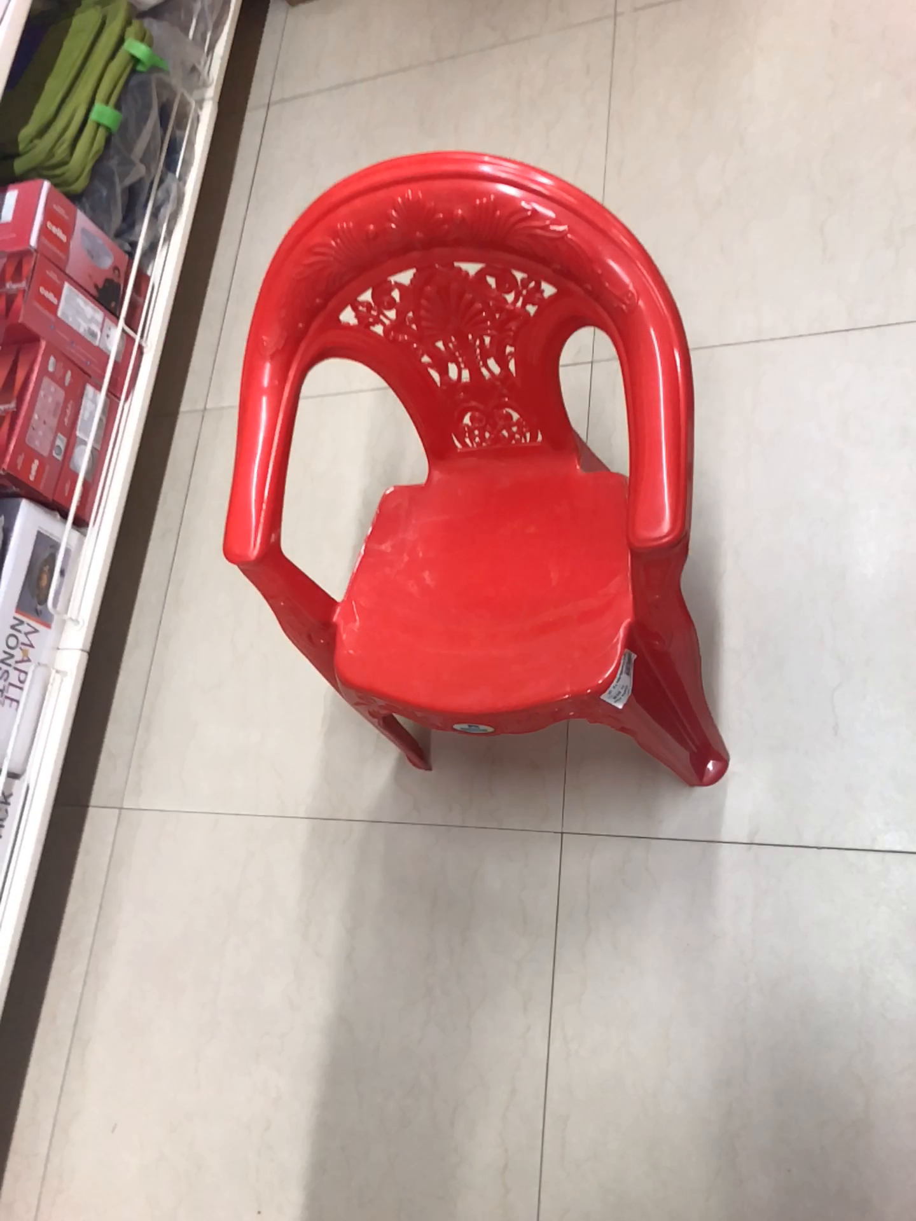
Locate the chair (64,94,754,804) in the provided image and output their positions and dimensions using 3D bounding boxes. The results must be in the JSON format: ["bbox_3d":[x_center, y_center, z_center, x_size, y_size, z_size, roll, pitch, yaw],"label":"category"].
[{"bbox_3d":[0.027,-0.071,0.883,0.391,0.508,0.371,-1,69,23],"label":"chair"}]
